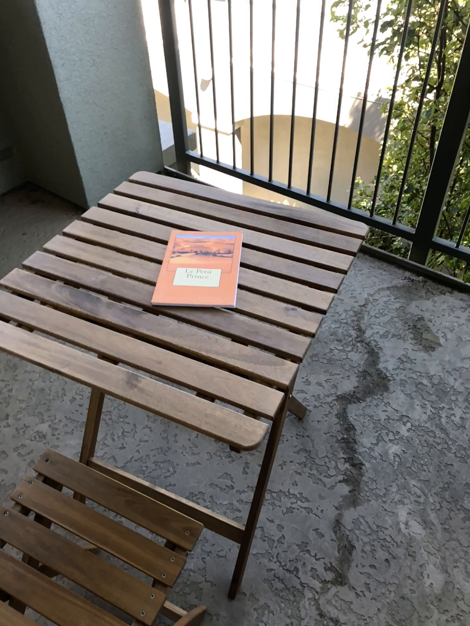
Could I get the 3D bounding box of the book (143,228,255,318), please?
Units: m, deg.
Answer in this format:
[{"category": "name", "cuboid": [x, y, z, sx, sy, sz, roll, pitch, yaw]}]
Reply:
[{"category": "book", "cuboid": [-0.060, -0.085, 0.995, 0.180, 0.010, 0.251, 2, 44, 5]}]
